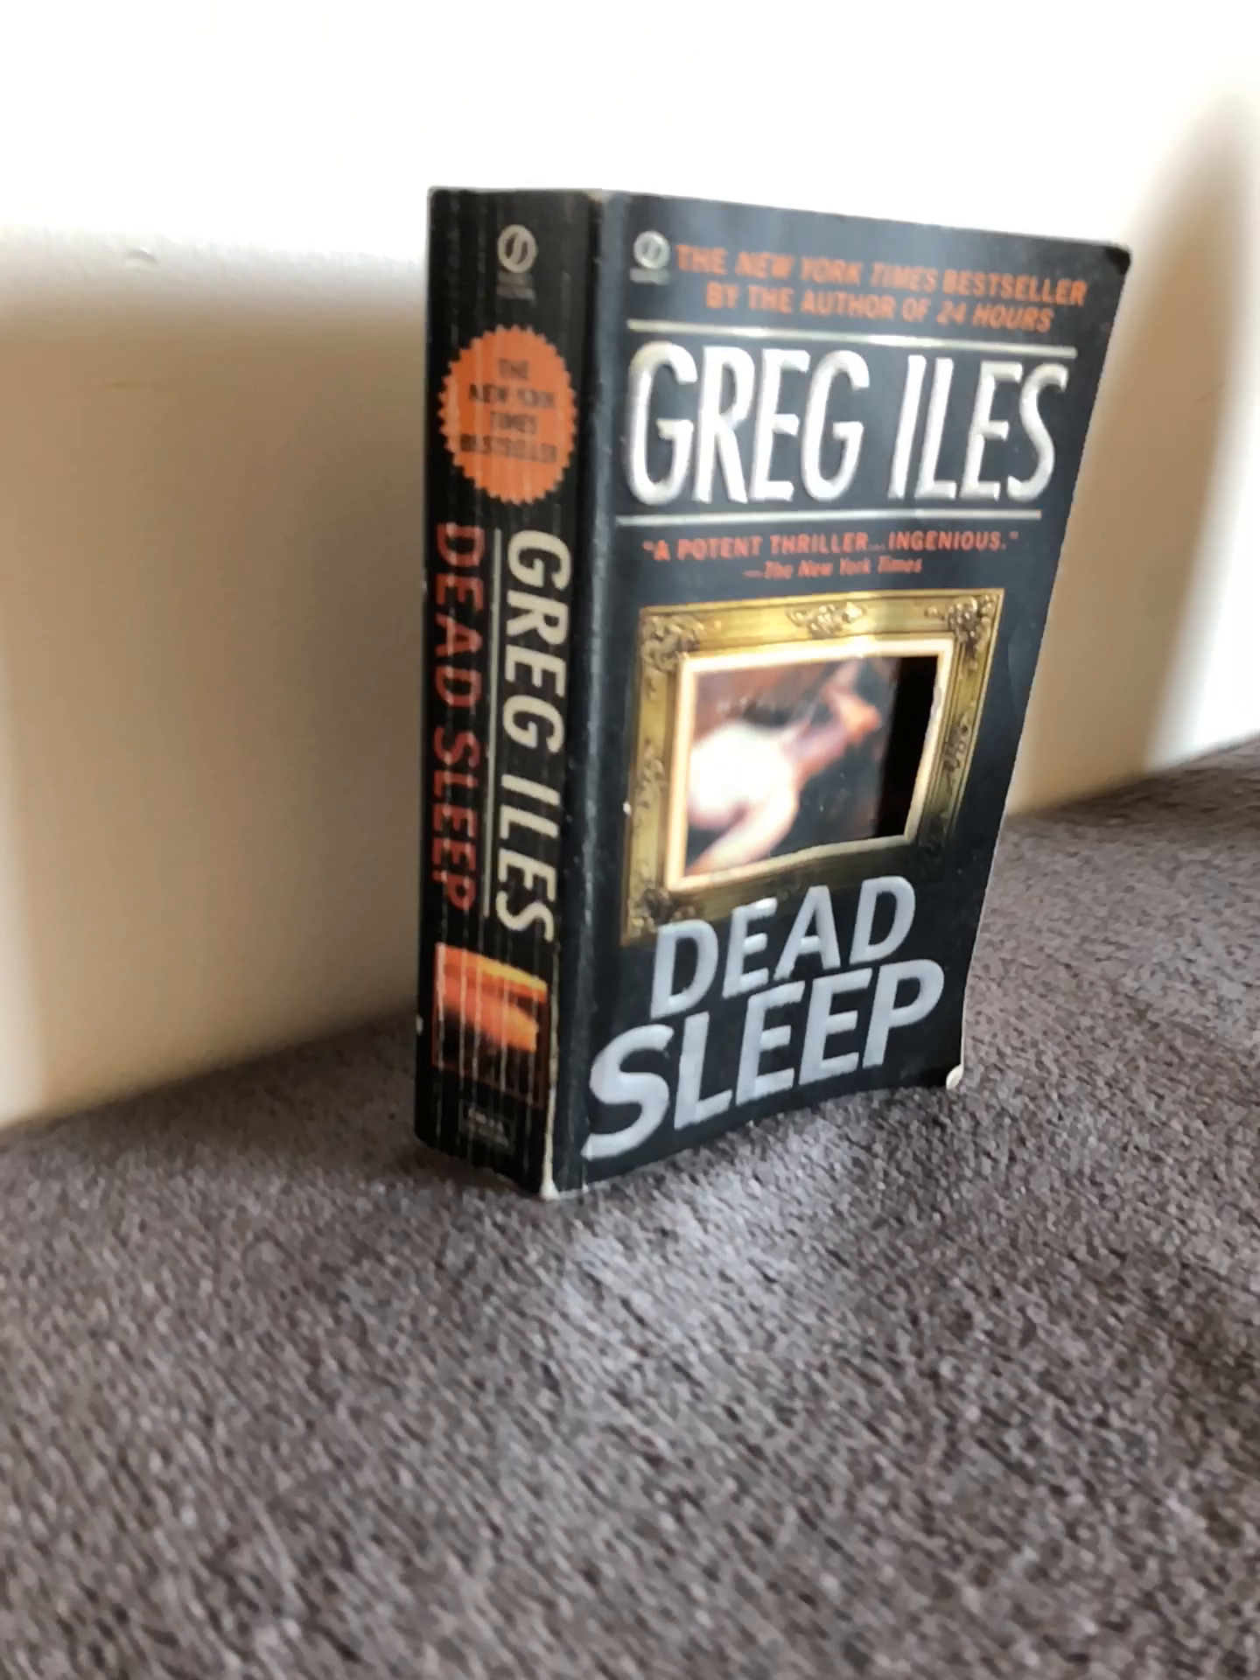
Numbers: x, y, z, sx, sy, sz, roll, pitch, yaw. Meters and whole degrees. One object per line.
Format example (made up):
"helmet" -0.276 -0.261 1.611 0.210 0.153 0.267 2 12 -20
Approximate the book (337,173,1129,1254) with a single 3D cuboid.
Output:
"book" 0.016 -0.028 0.261 0.123 0.163 0.061 -12 26 -36
